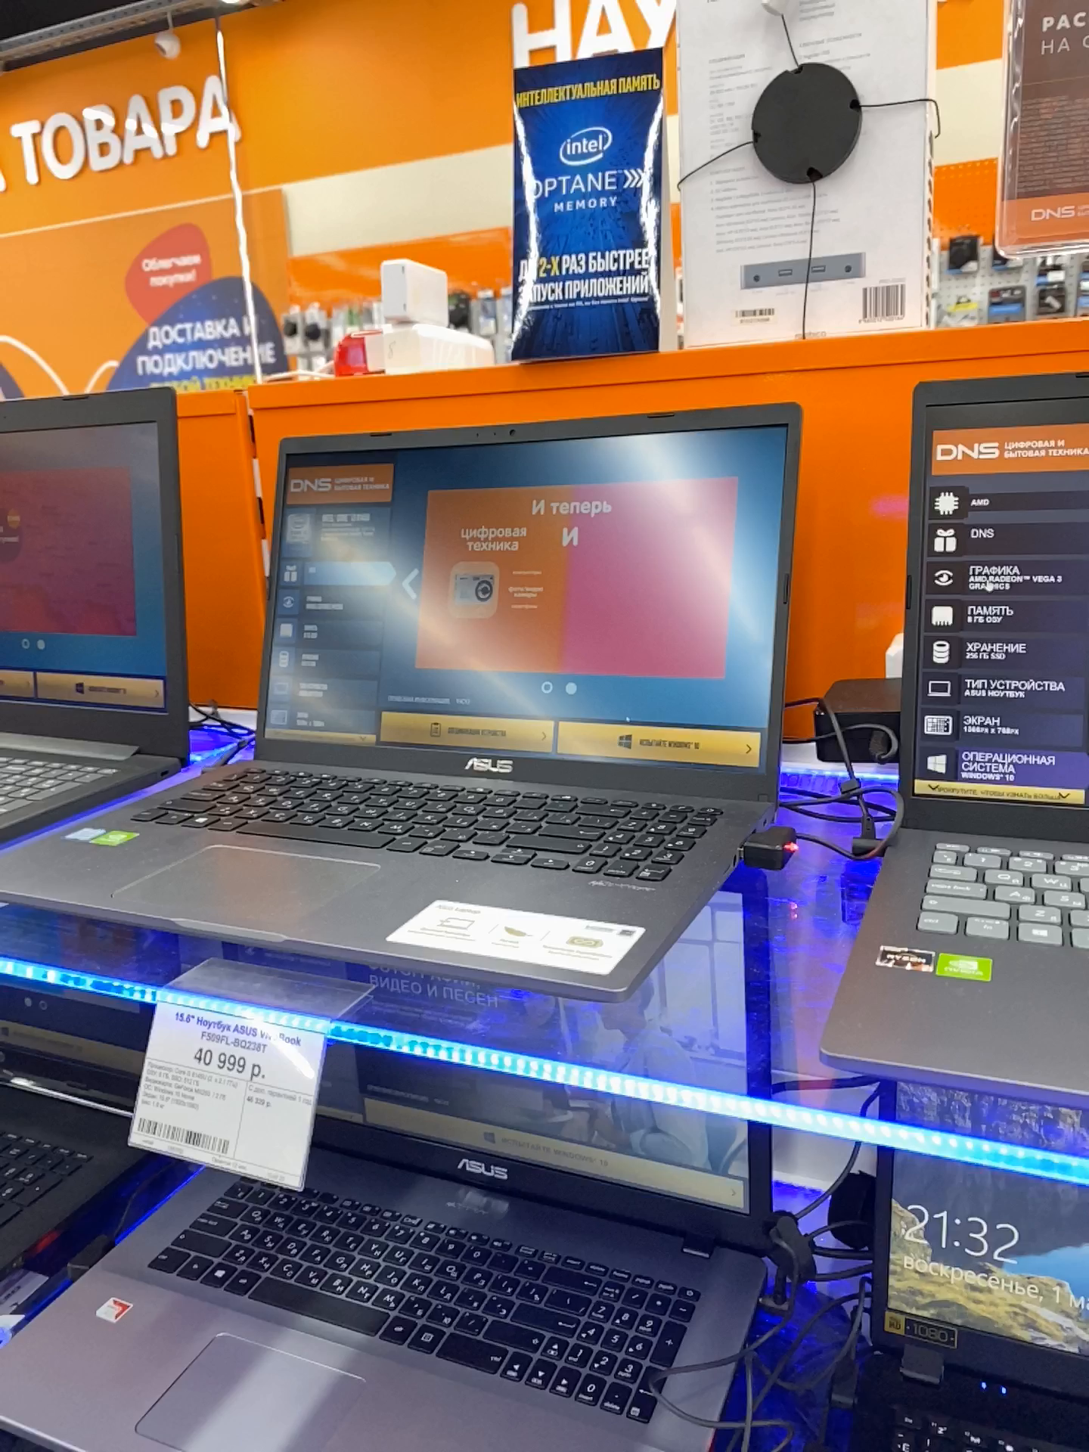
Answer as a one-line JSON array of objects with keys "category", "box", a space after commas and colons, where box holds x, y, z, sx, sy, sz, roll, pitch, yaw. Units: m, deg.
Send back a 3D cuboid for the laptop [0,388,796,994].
[{"category": "laptop", "box": [-0.080, -0.052, 0.589, 0.358, 0.211, 0.307, 3, 15, 24]}]
